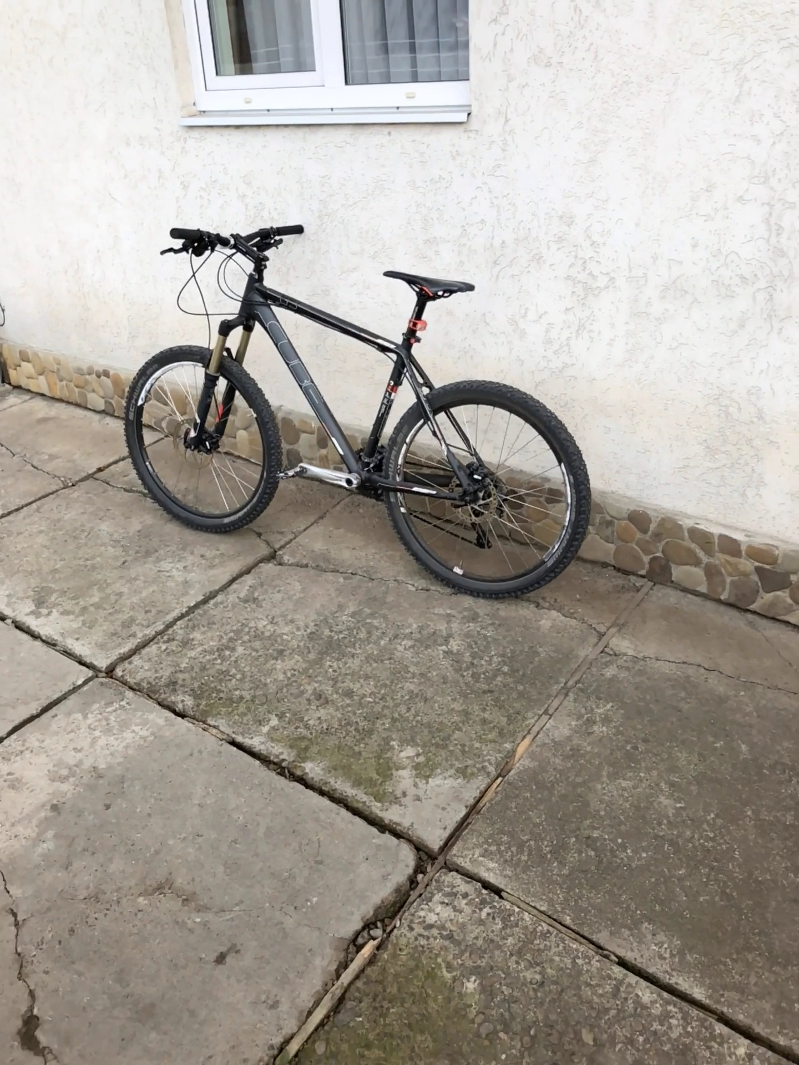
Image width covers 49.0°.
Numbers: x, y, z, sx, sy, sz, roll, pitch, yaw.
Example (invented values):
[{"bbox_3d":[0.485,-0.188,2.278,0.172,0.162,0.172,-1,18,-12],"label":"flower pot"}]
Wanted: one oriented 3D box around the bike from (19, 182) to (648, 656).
[{"bbox_3d":[-0.219,-0.477,2.879,1.774,1.090,0.689,14,32,26],"label":"bike"}]
